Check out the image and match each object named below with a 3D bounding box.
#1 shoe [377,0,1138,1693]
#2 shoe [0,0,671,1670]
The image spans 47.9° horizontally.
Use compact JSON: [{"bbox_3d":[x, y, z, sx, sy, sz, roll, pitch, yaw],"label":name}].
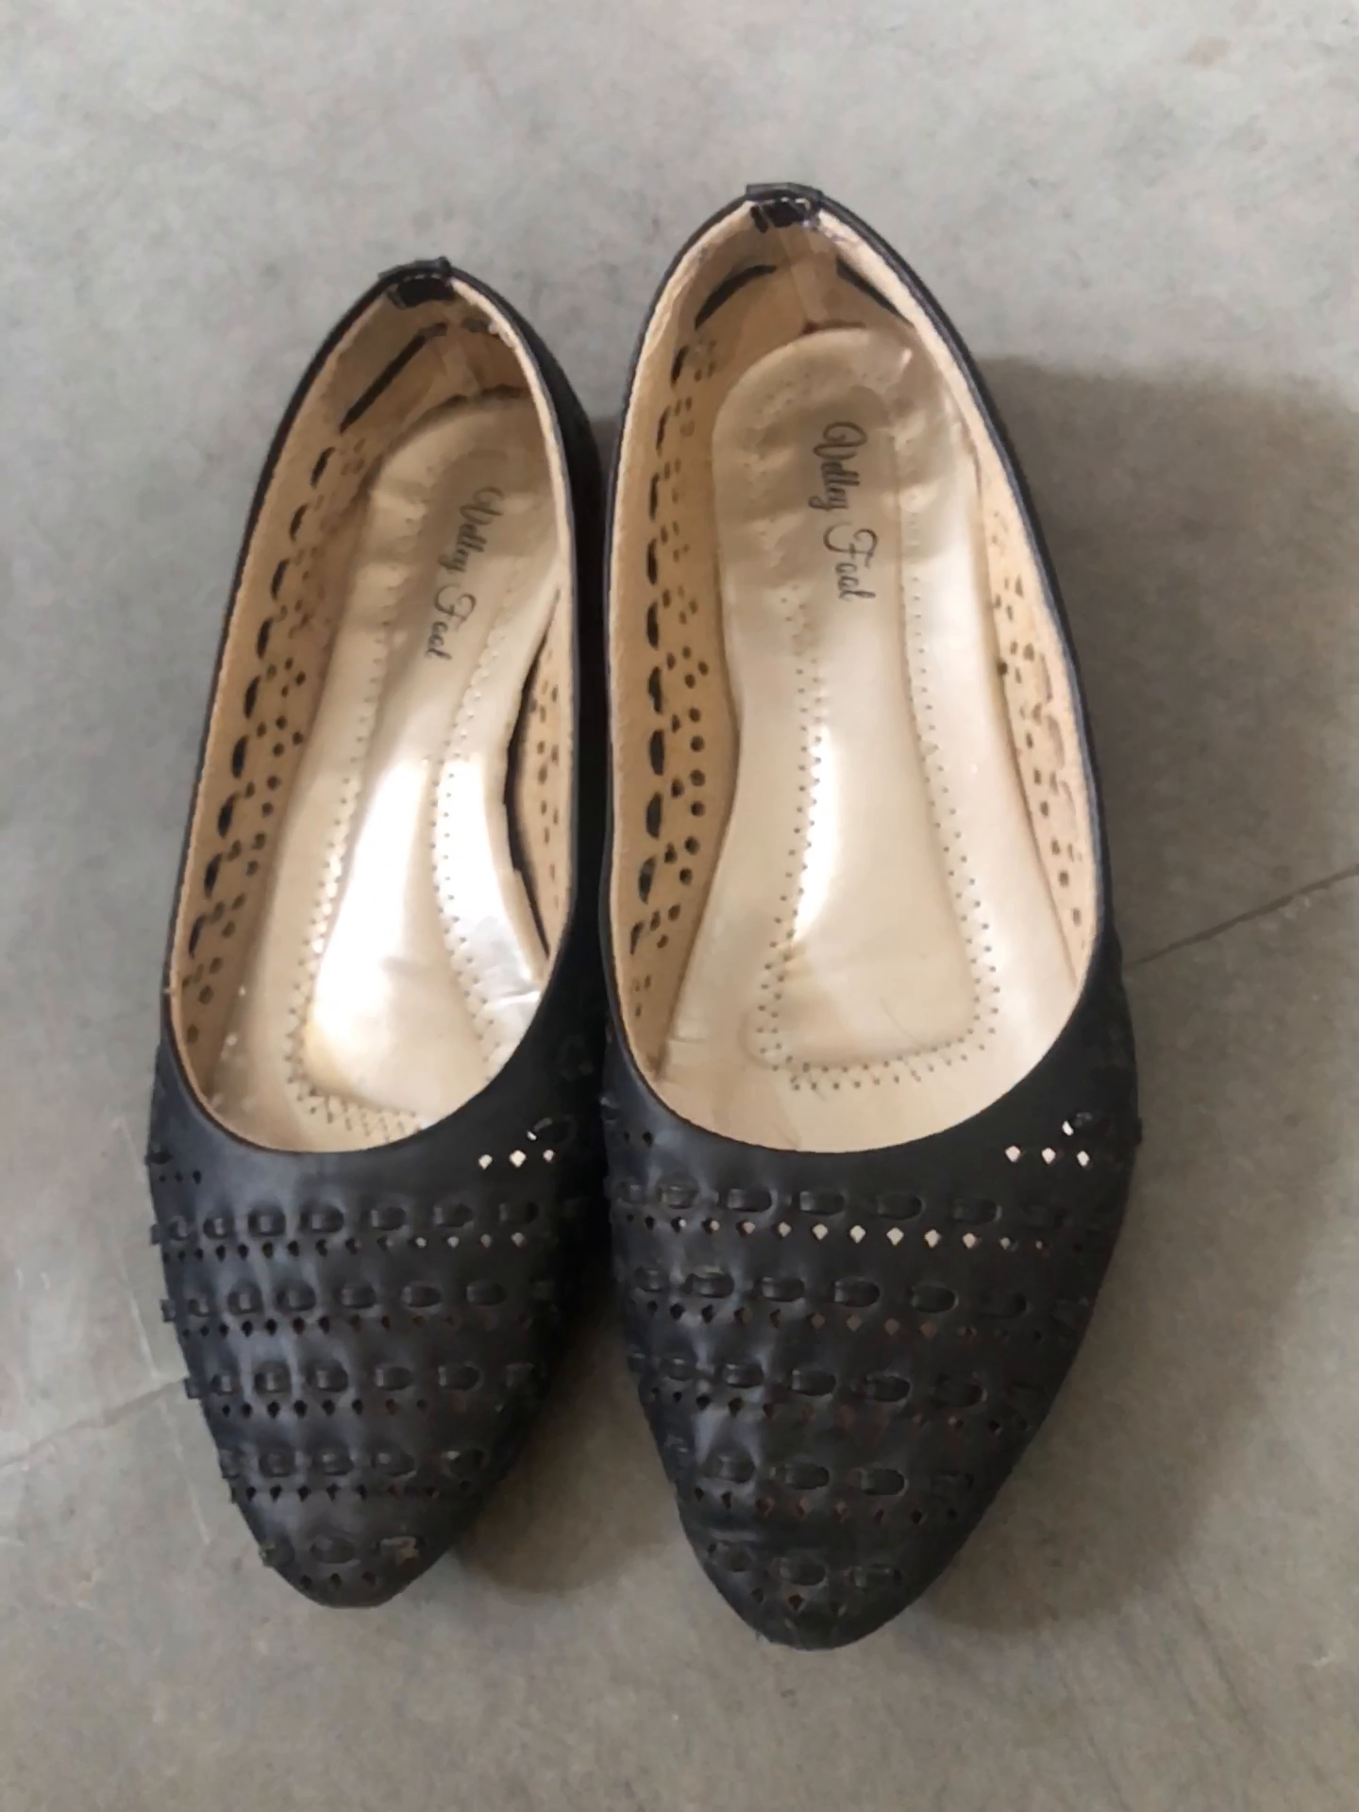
[{"bbox_3d":[0.022,-0.026,0.271,0.100,0.070,0.280,-3,71,16],"label":"shoe"},{"bbox_3d":[-0.062,-0.019,0.281,0.100,0.070,0.270,-3,76,16],"label":"shoe"}]
